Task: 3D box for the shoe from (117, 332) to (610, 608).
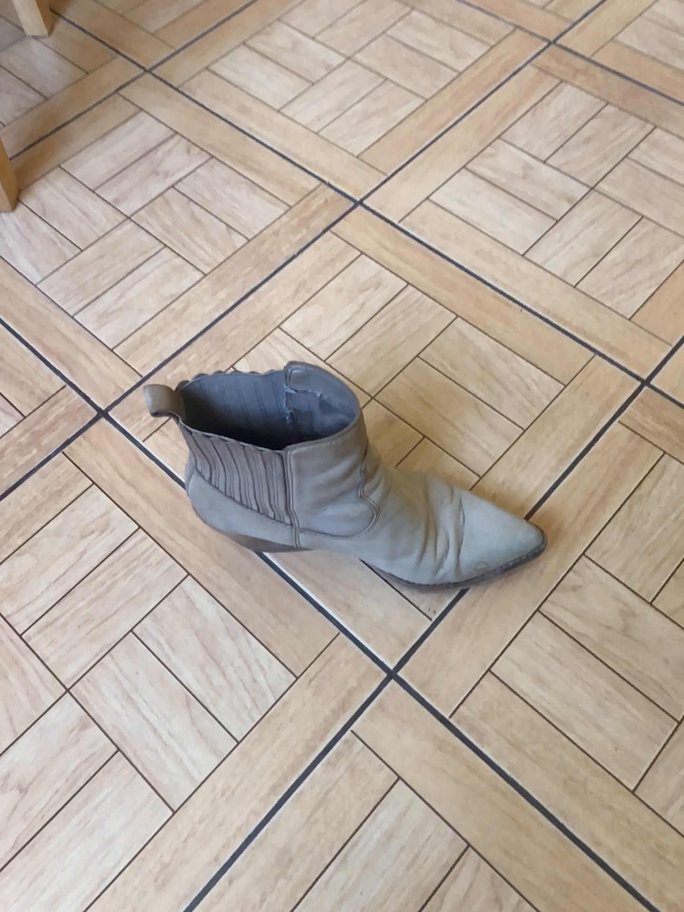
[{"bbox_3d":[0.015,0.018,0.497,0.260,0.180,0.090,4,62,5],"label":"shoe"}]
